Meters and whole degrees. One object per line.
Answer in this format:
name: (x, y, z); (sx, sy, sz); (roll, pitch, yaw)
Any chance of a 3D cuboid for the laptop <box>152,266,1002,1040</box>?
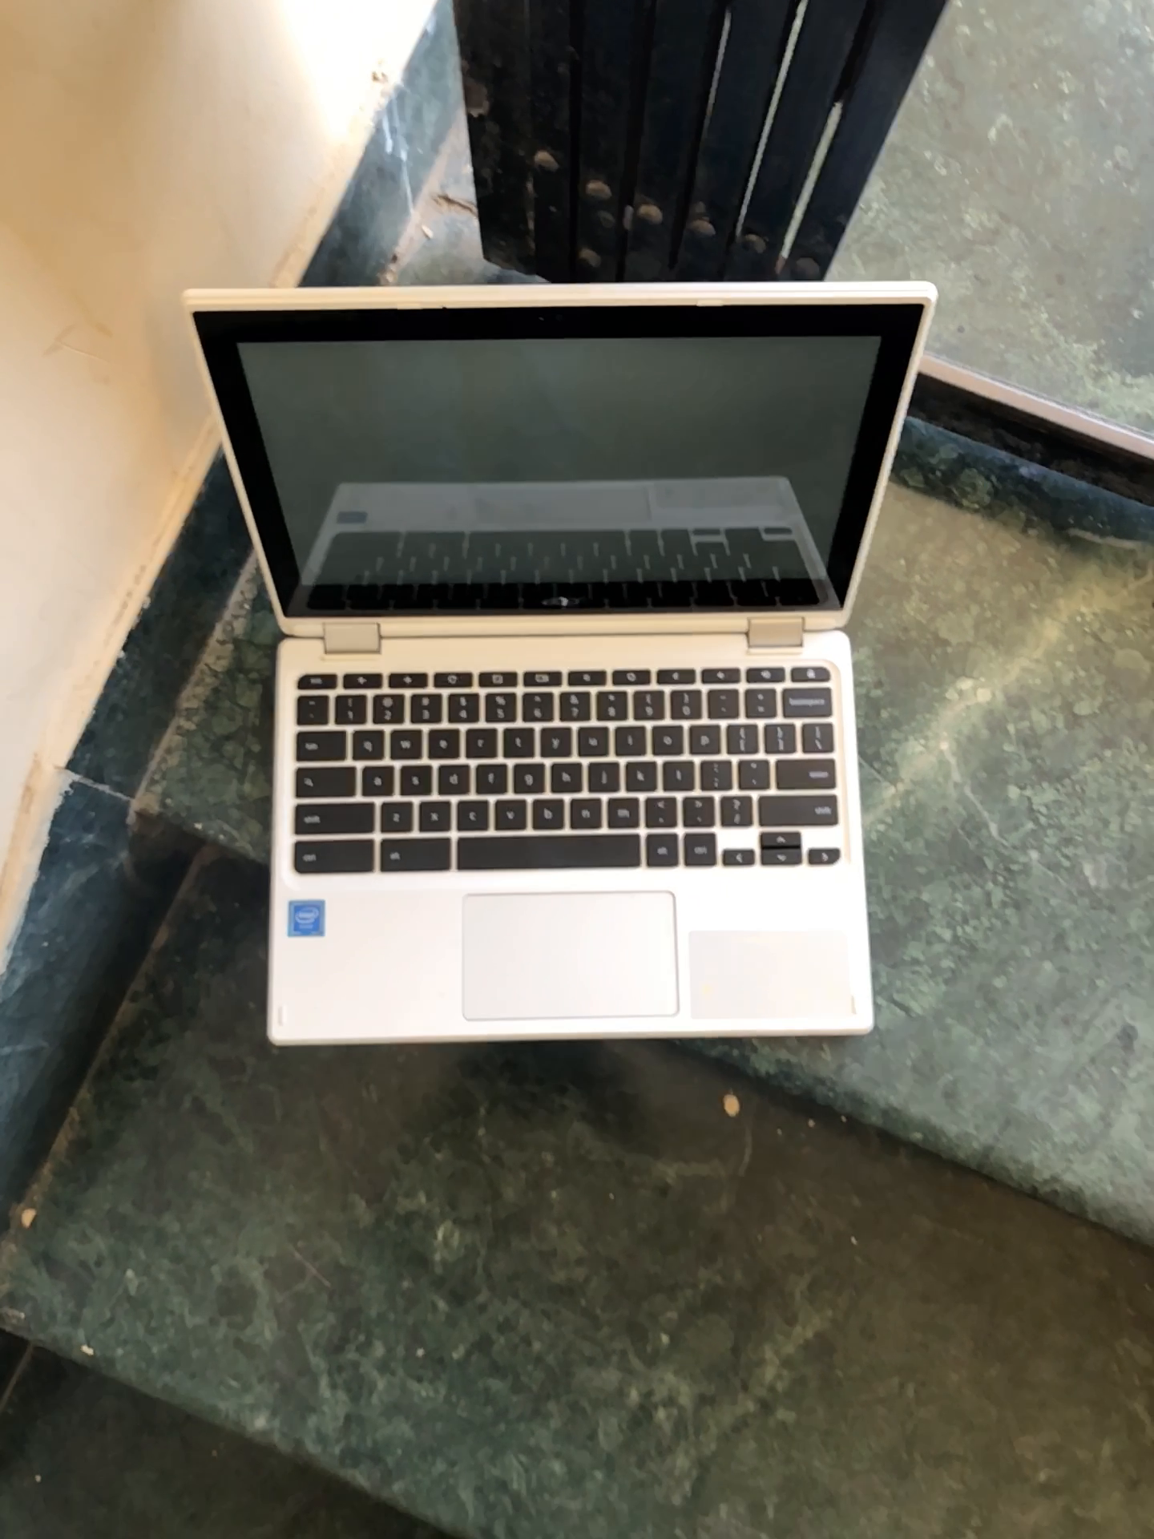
laptop: (-0.002, -0.030, 0.529); (0.278, 0.179, 0.271); (-1, 79, -1)
